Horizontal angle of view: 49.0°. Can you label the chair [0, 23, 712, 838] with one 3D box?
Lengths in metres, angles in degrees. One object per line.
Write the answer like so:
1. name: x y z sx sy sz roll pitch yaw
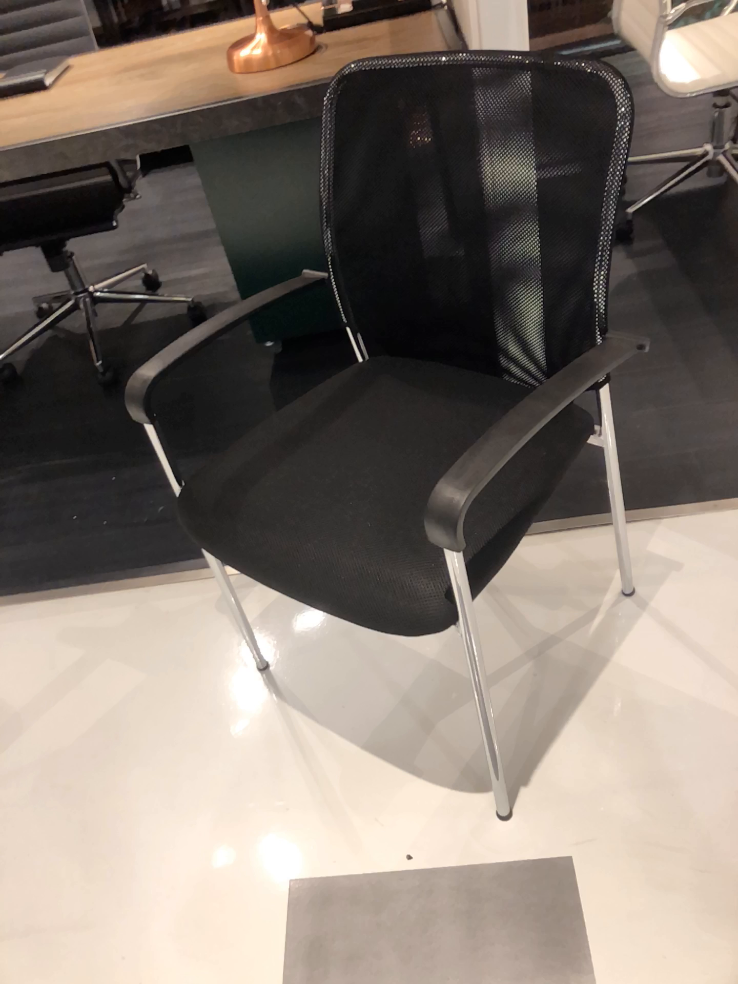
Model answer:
1. chair: 0.045 -0.087 1.130 0.592 0.864 0.512 21 52 34
